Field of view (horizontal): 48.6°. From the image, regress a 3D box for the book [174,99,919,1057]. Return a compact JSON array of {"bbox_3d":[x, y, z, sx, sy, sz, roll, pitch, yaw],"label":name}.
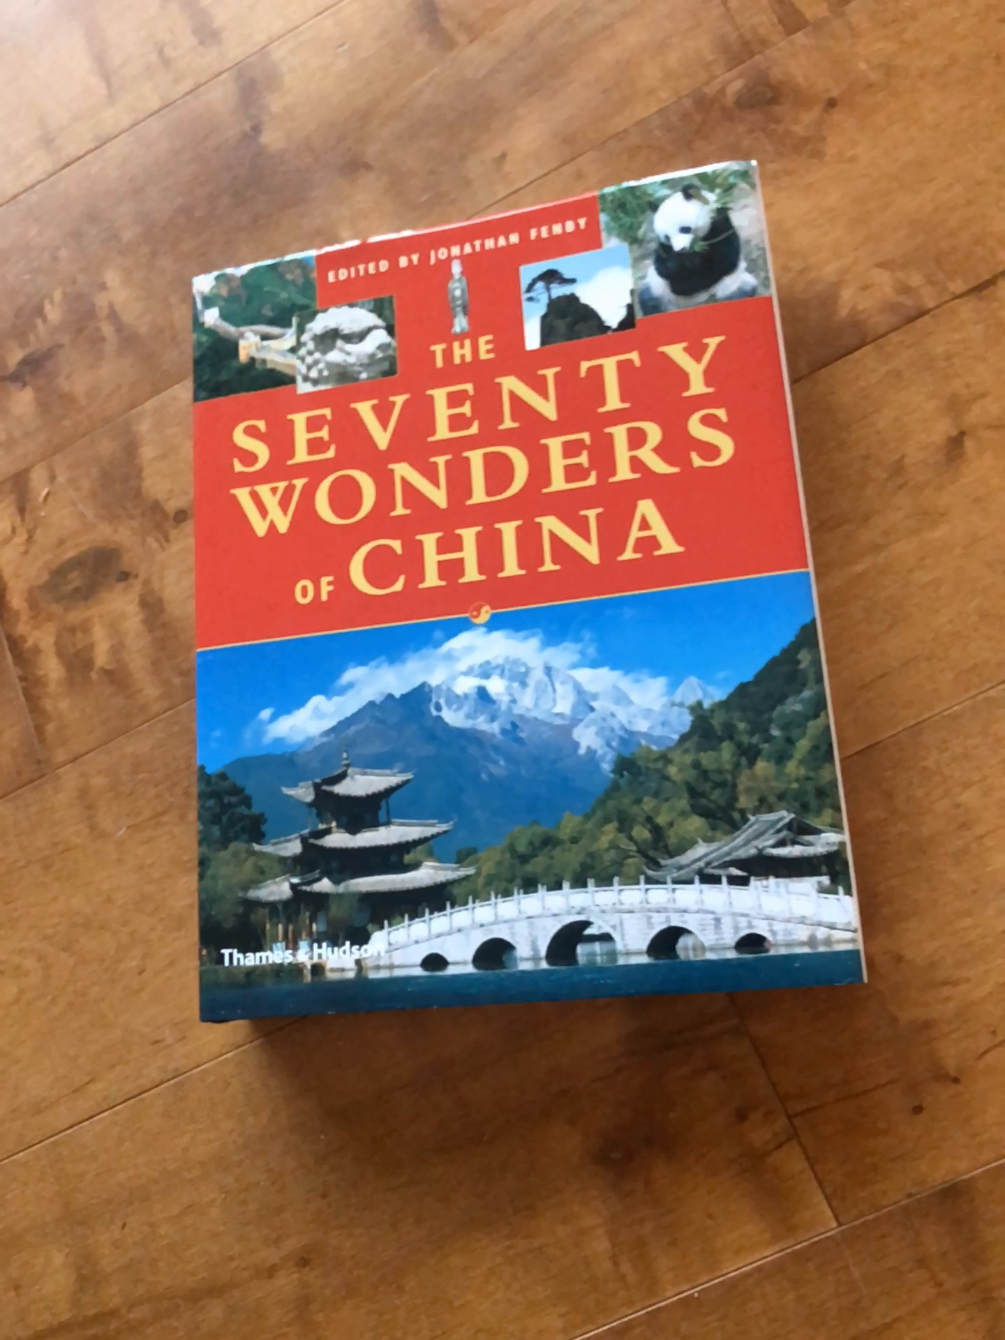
[{"bbox_3d":[0.001,-0.028,0.381,0.220,0.050,0.290,-7,76,13],"label":"book"}]
